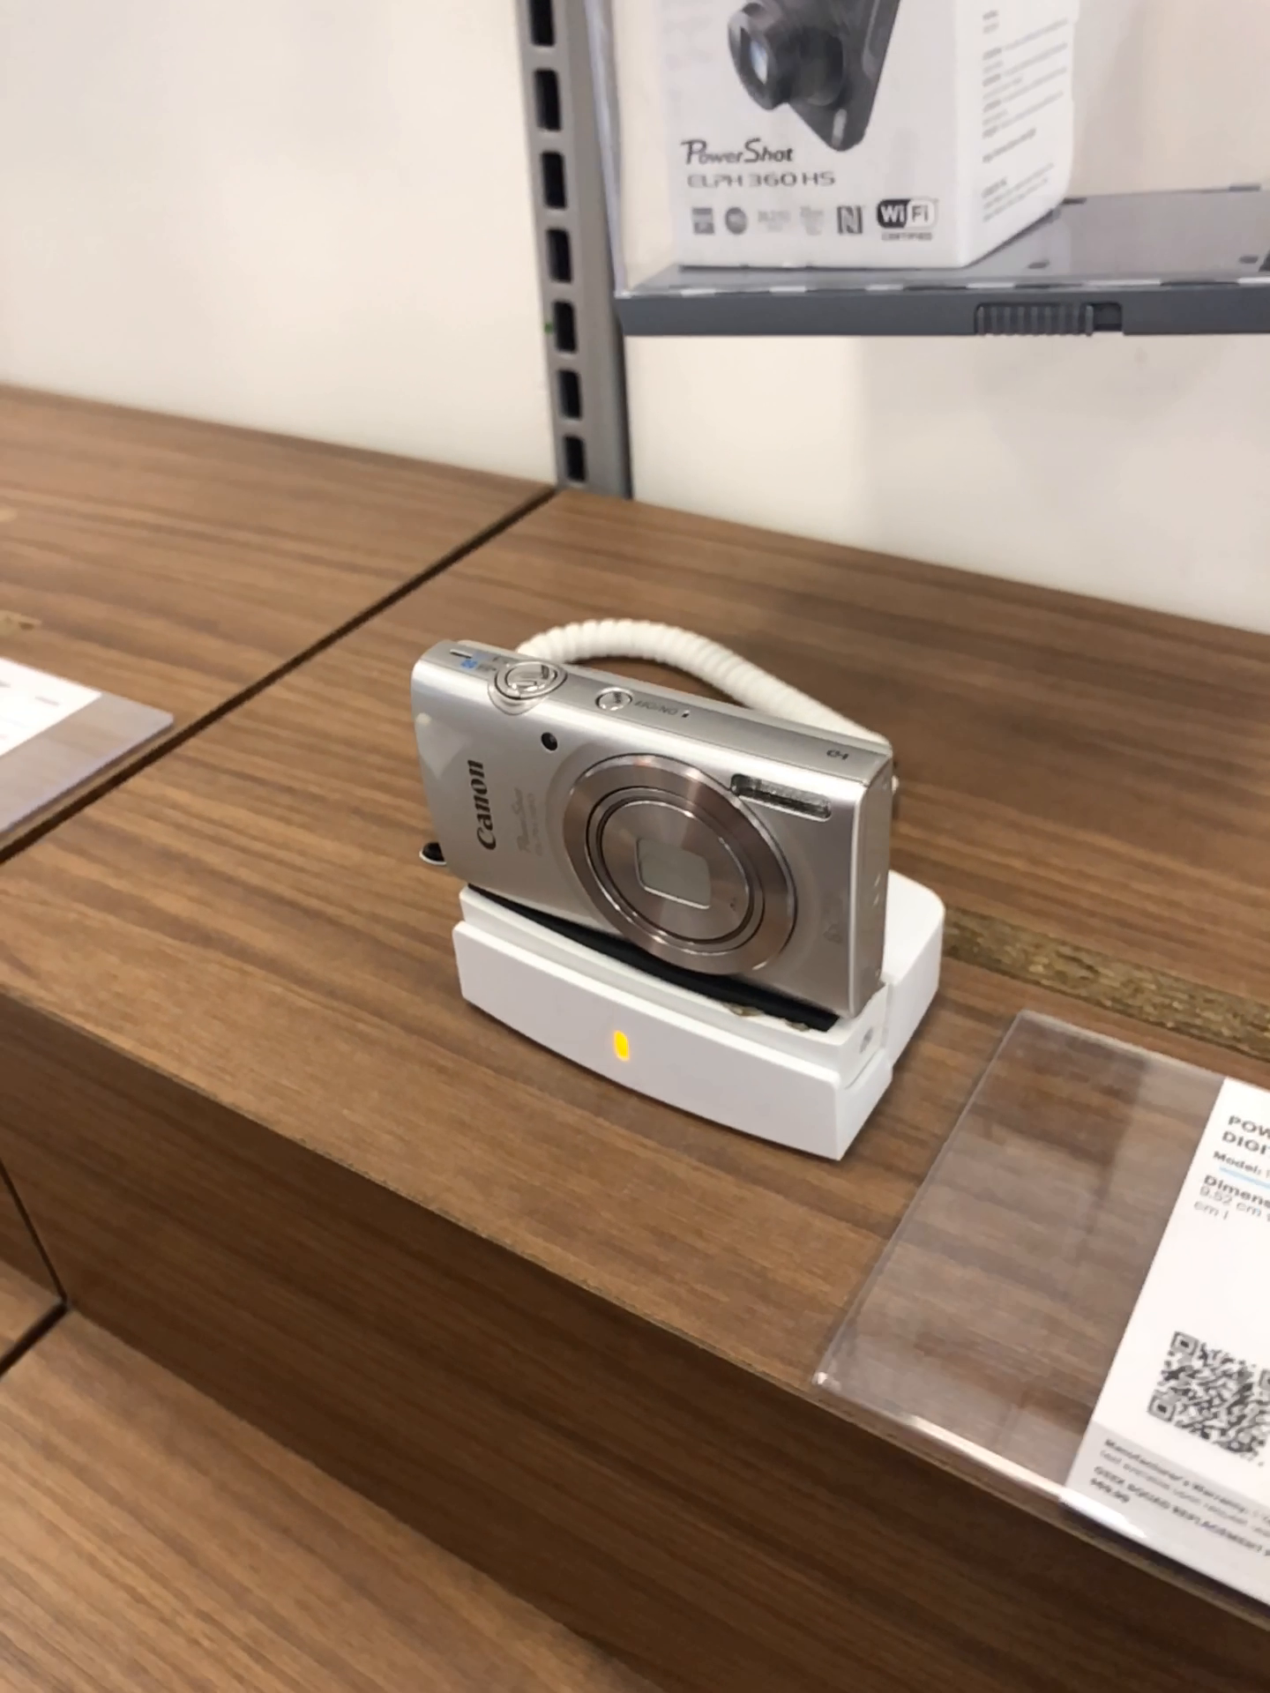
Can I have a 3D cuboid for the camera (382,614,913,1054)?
[{"bbox_3d":[0.002,-0.004,0.275,0.100,0.060,0.020,18,46,28],"label":"camera"}]
